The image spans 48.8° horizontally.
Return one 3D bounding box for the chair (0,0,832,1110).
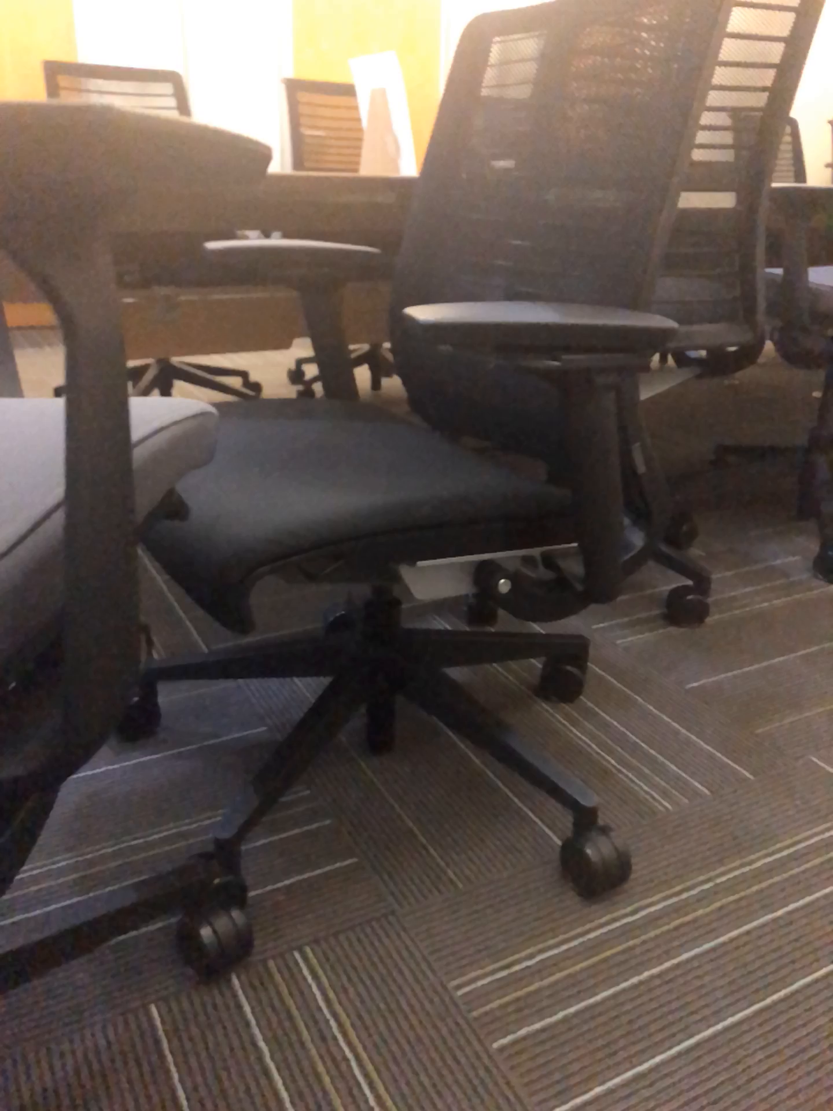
[{"bbox_3d":[-0.065,-0.150,1.100,0.733,0.994,0.722,-10,22,-27],"label":"chair"}]
